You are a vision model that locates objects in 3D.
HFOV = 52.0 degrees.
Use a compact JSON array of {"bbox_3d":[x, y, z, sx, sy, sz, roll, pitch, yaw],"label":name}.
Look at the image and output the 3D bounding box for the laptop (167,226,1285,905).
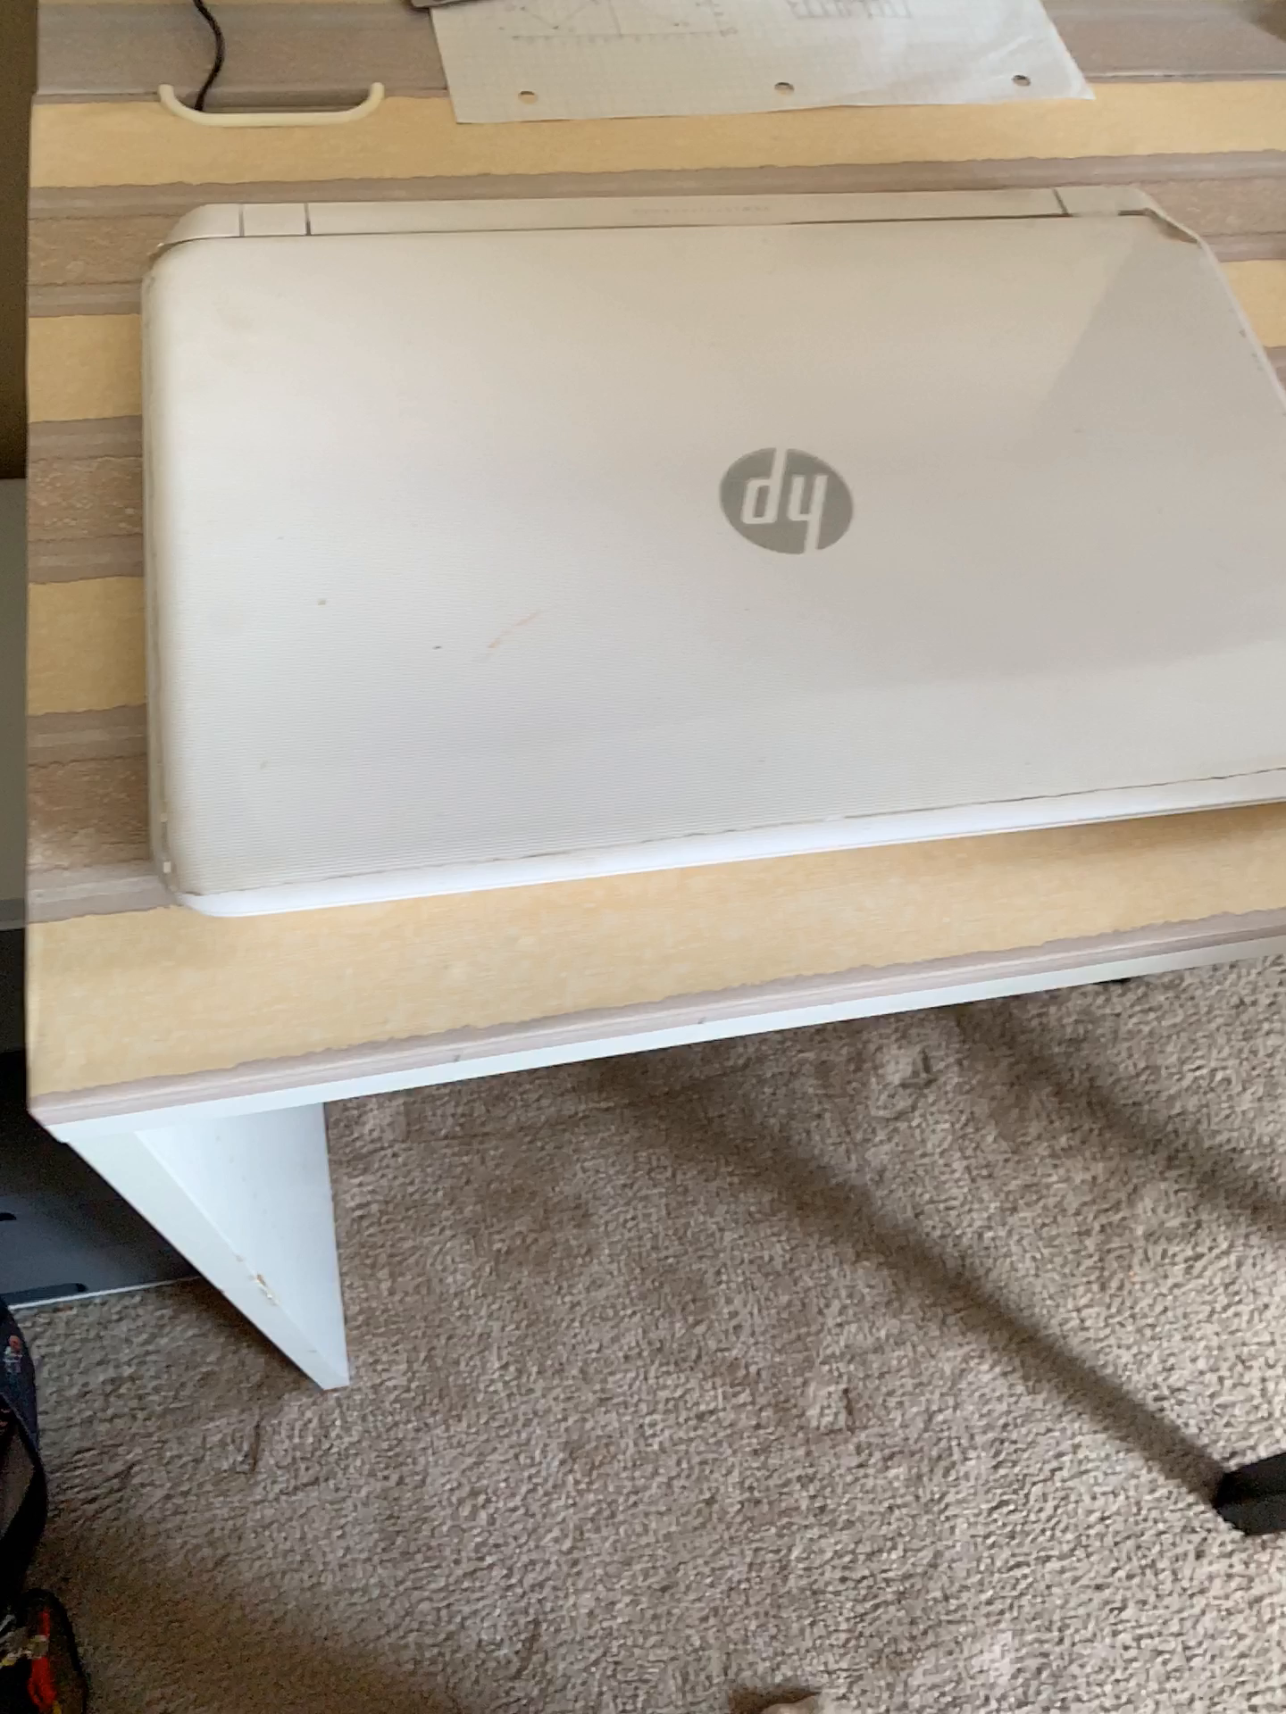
[{"bbox_3d":[0.042,-0.111,0.411,0.364,0.002,0.229,-7,64,-9],"label":"laptop"}]
